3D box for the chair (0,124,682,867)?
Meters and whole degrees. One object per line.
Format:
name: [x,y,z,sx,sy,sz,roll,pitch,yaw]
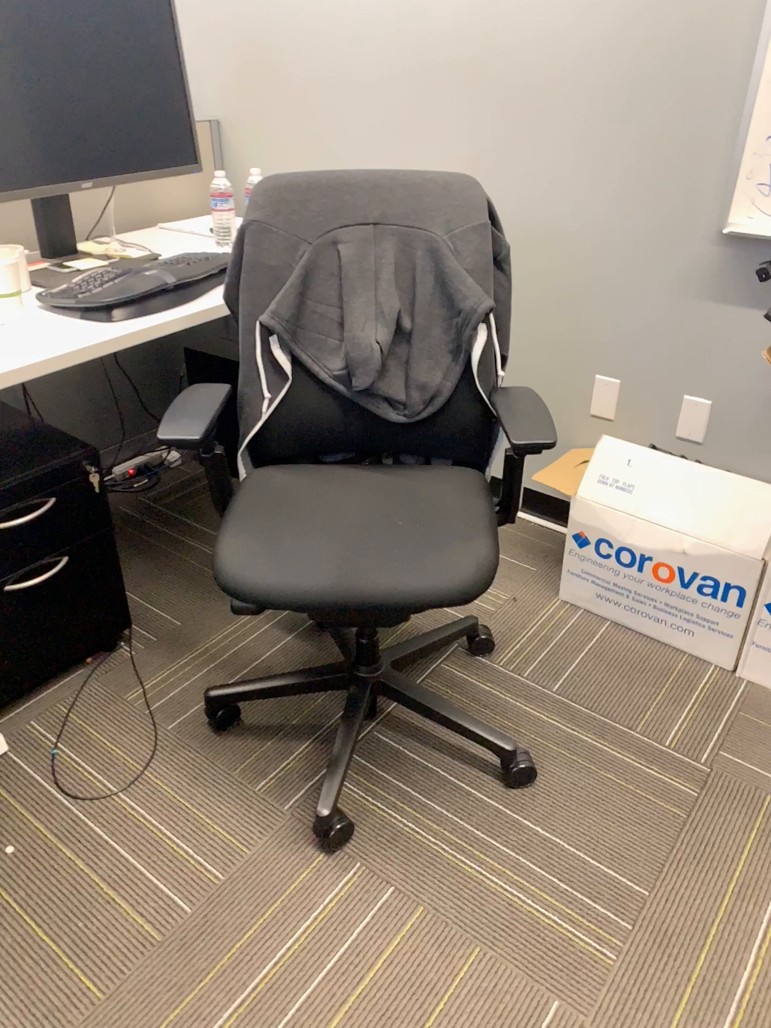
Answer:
chair: [-0.049,-0.093,1.475,0.750,1.073,0.885,2,31,3]
